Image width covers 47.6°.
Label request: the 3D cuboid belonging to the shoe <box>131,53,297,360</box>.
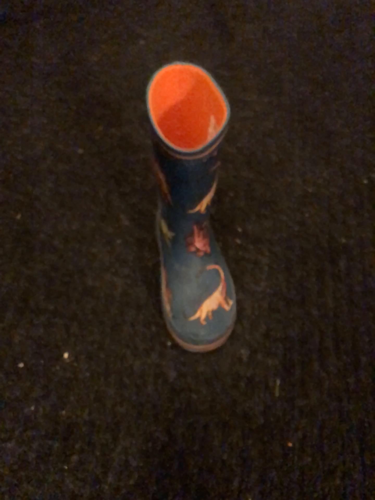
[{"bbox_3d":[0.006,-0.033,0.373,0.080,0.179,0.191,-7,55,-7],"label":"shoe"}]
